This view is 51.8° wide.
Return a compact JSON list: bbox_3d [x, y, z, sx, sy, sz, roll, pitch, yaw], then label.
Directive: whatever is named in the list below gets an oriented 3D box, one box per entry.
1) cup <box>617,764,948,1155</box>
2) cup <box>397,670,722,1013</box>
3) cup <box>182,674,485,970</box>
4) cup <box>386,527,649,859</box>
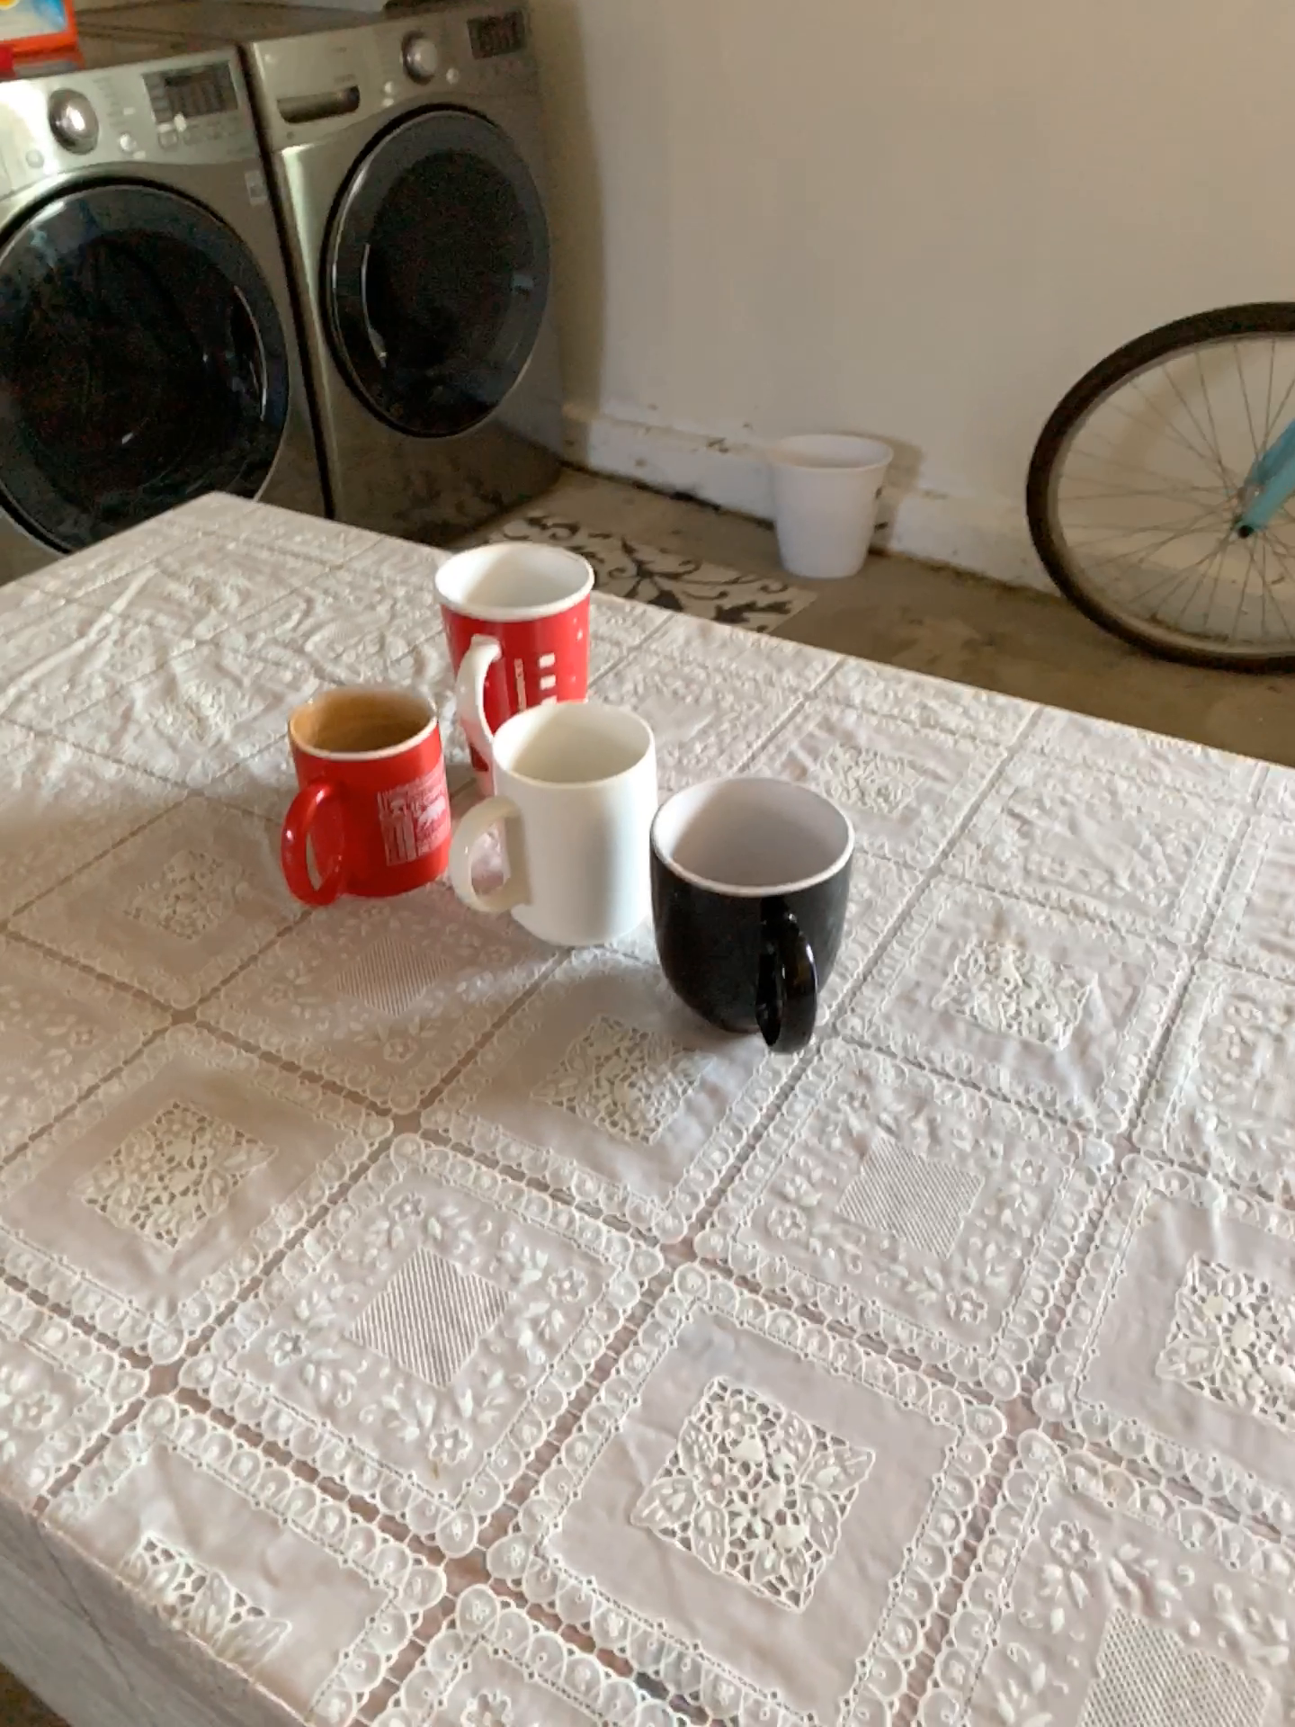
[{"bbox_3d":[0.057,0.040,0.646,0.110,0.090,0.161,-9,38,-9],"label":"cup"},{"bbox_3d":[-0.044,-0.017,0.738,0.140,0.109,0.100,-30,46,-32],"label":"cup"},{"bbox_3d":[-0.173,-0.028,0.766,0.090,0.090,0.140,16,41,22],"label":"cup"},{"bbox_3d":[-0.072,-0.108,0.824,0.100,0.139,0.140,12,39,17],"label":"cup"}]
